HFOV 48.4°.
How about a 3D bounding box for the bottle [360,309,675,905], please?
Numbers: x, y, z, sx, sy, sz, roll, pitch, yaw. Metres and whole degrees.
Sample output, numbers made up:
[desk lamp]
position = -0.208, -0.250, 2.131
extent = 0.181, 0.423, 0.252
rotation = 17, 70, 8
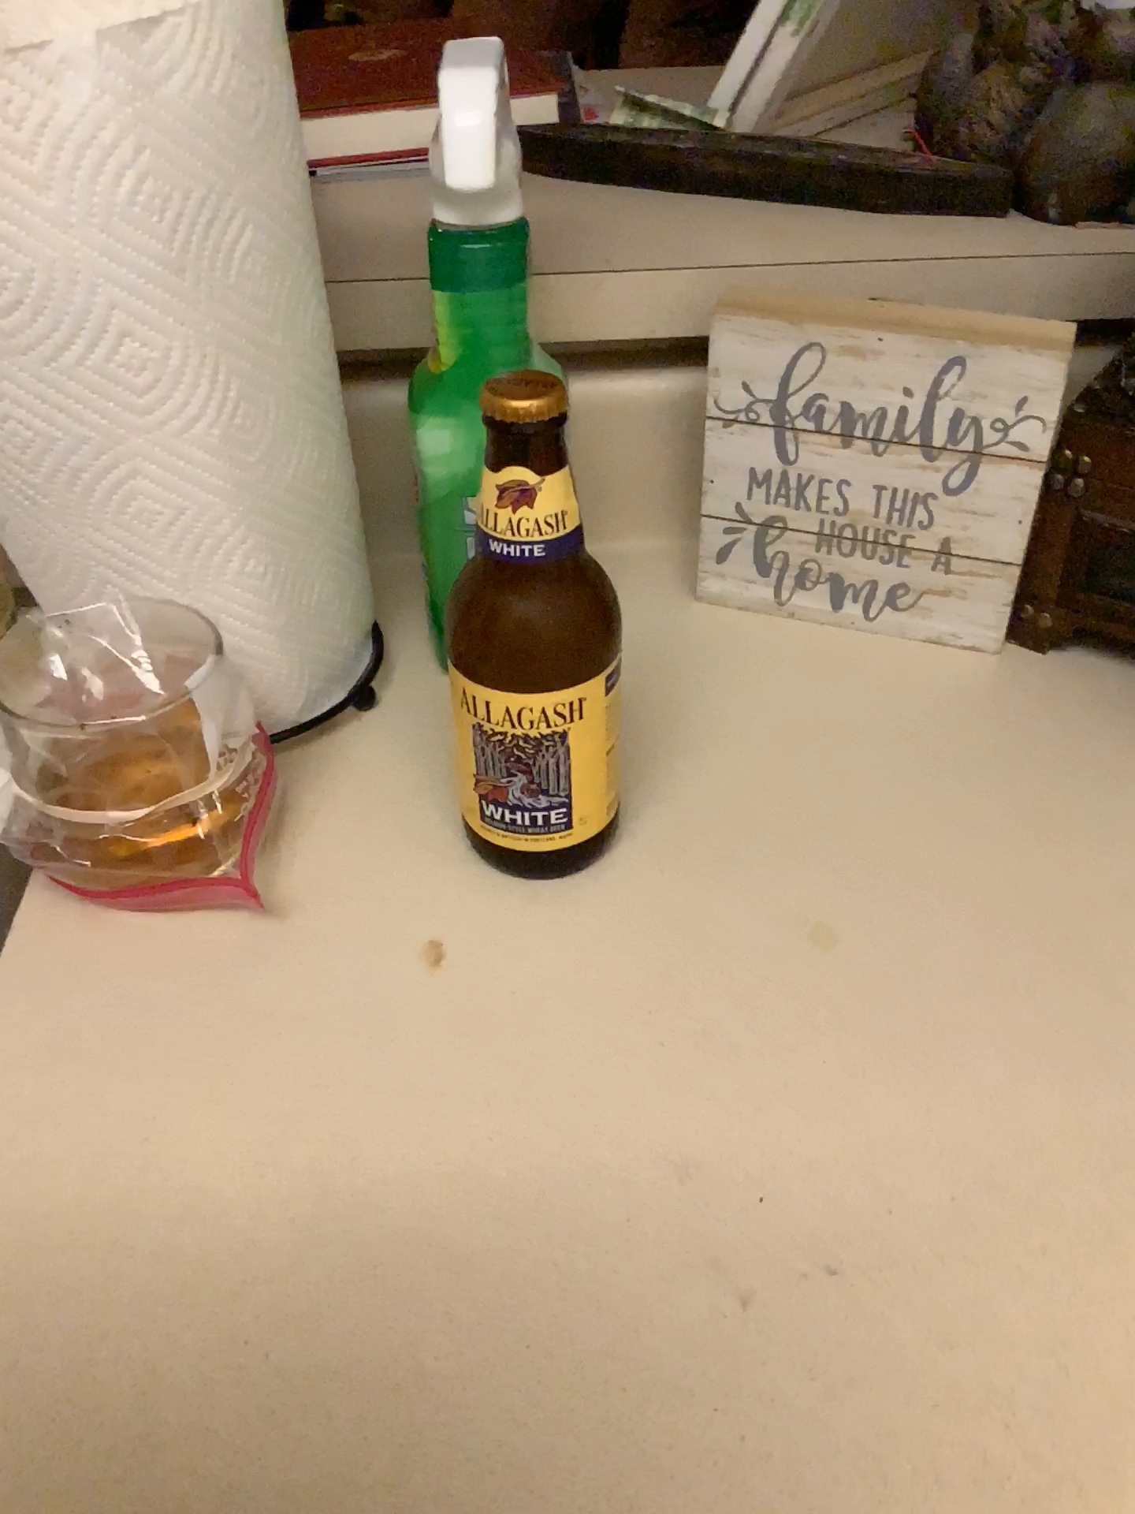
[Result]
[bottle]
position = -0.011, -0.049, 0.450
extent = 0.080, 0.190, 0.080
rotation = -1, 38, 1
